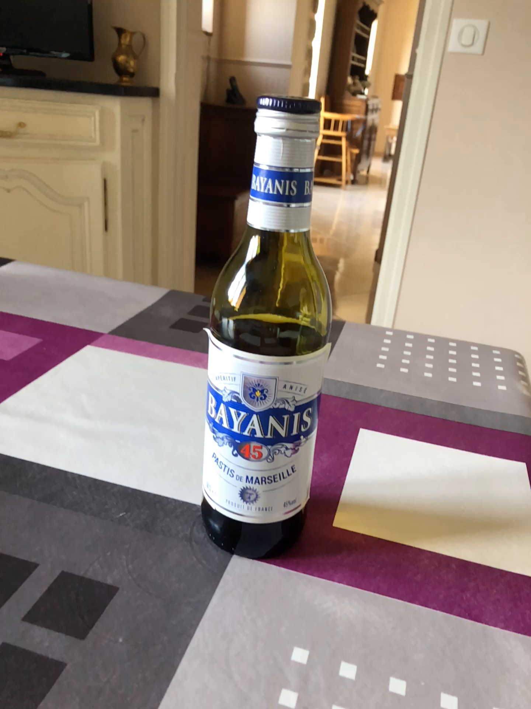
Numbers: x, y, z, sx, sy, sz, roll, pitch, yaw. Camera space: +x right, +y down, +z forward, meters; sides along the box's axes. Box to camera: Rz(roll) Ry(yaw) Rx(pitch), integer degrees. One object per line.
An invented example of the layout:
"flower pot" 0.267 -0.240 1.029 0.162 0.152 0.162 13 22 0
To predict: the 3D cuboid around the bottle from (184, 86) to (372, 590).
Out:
"bottle" 0.003 -0.002 0.321 0.070 0.259 0.070 4 24 -2
